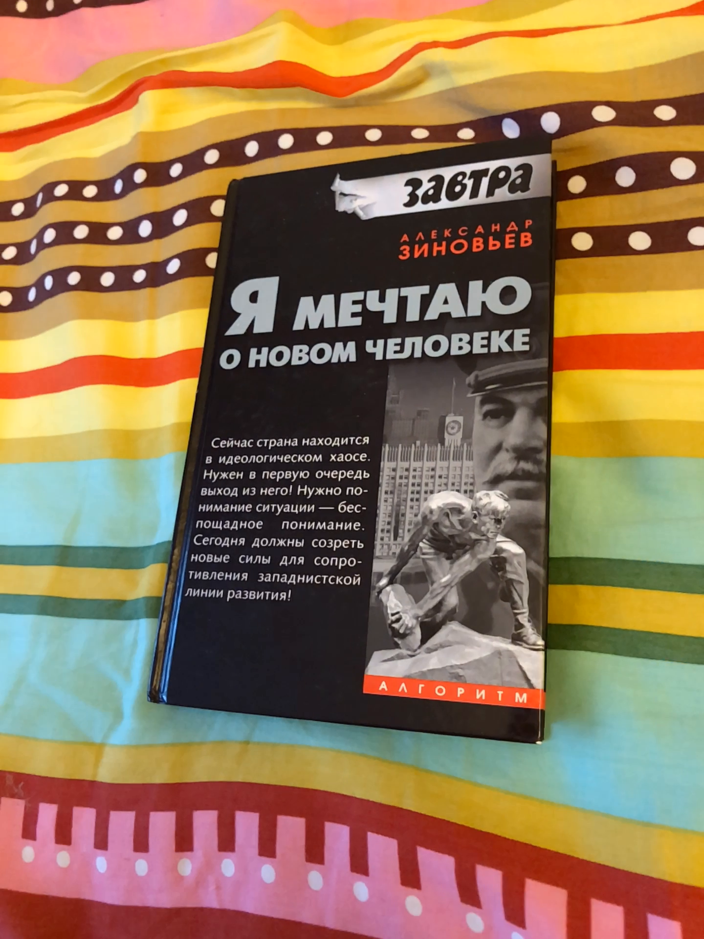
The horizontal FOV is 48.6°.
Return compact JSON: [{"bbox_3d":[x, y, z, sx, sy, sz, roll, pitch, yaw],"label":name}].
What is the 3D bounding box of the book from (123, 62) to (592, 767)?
[{"bbox_3d":[0.007,-0.025,0.268,0.140,0.030,0.220,0,74,20],"label":"book"}]
